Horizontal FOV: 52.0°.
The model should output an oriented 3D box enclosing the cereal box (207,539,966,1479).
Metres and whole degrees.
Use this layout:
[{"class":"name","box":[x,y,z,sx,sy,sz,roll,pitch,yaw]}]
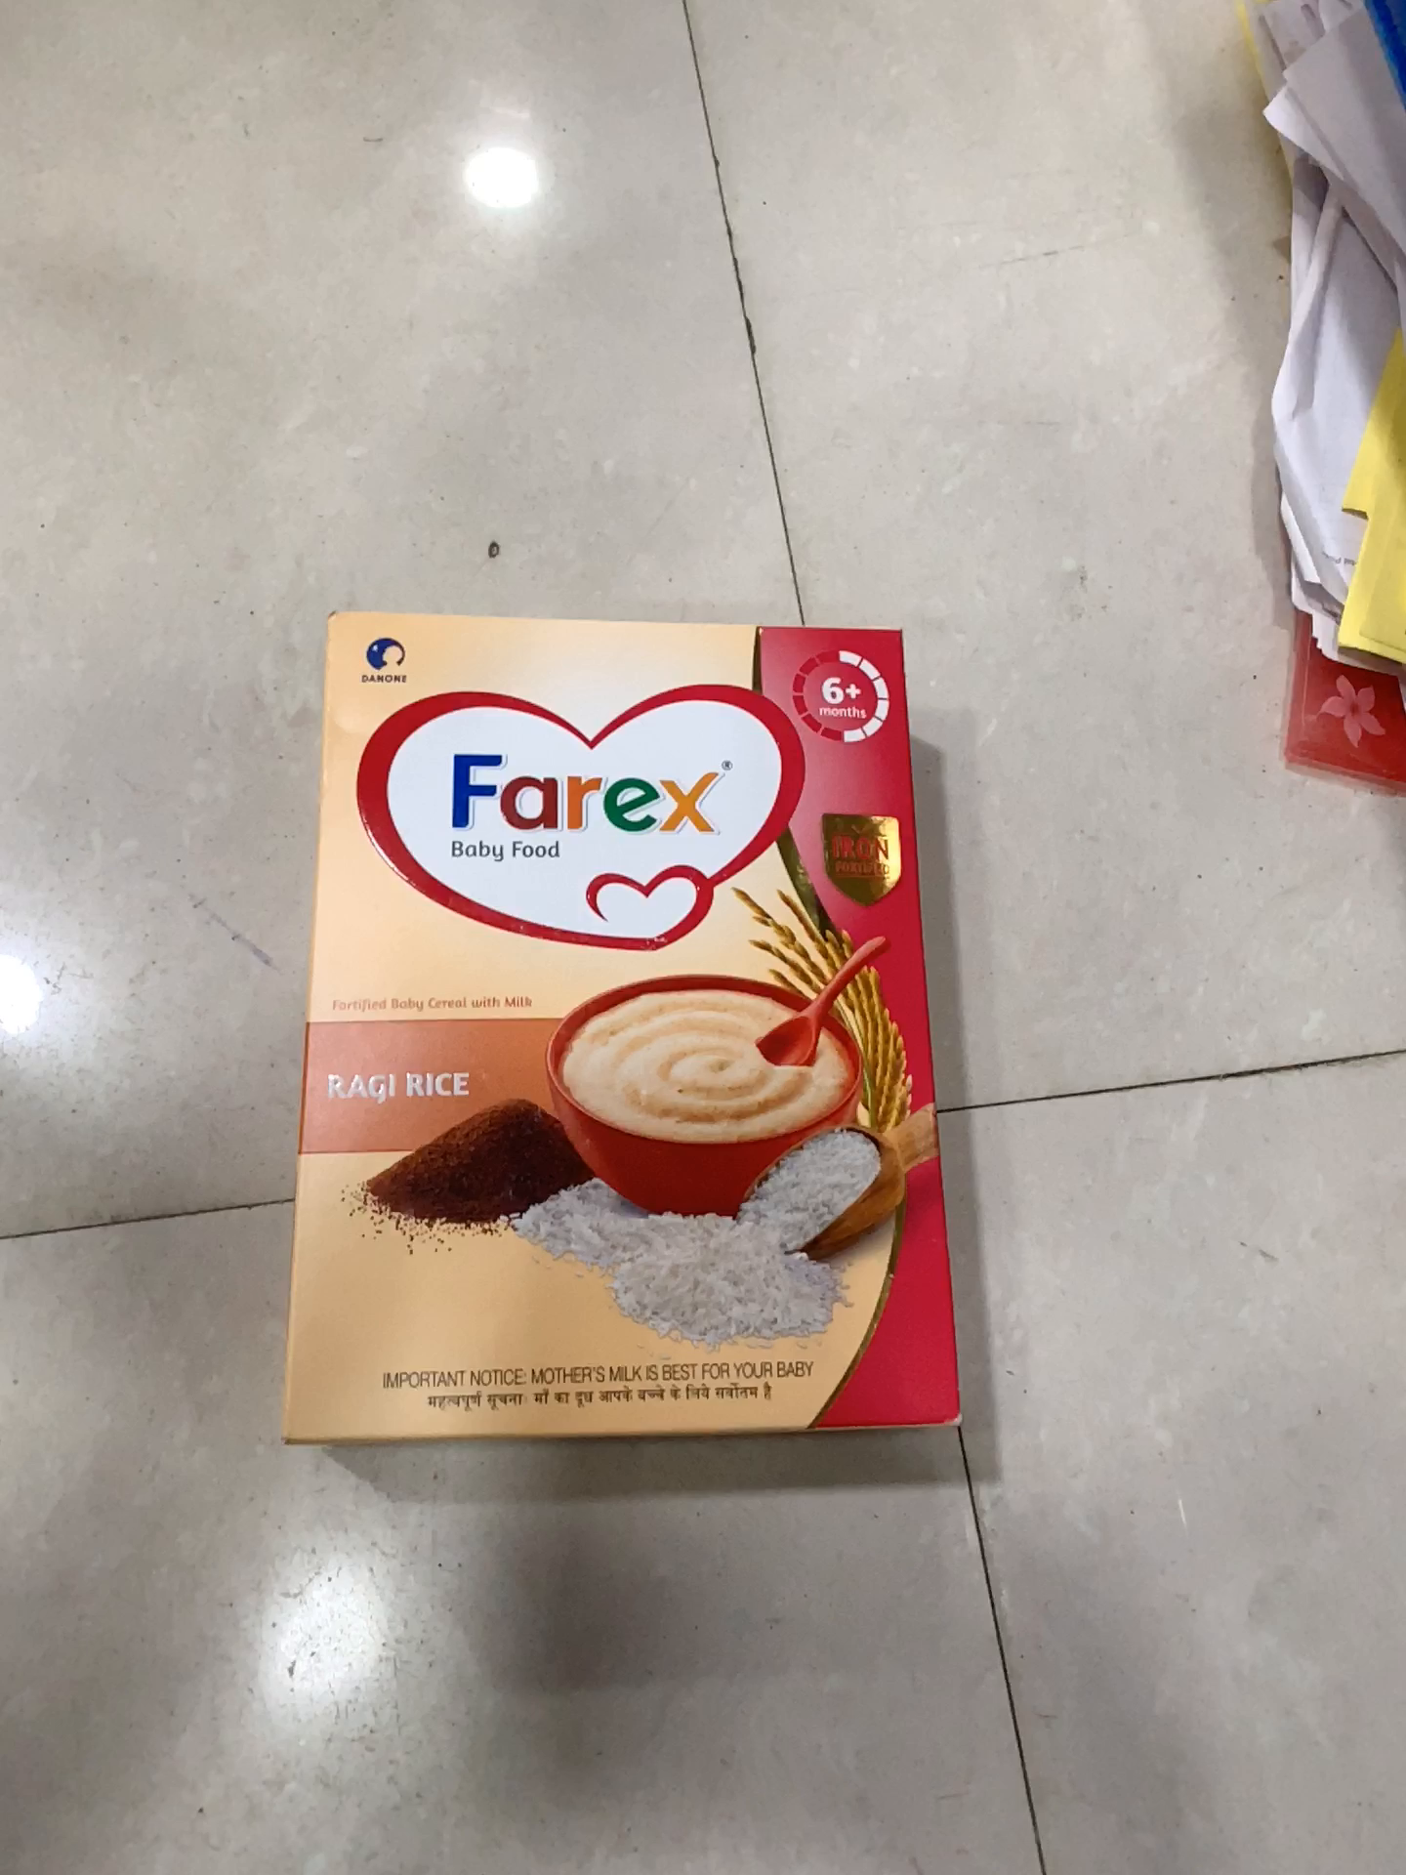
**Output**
[{"class":"cereal box","box":[-0.027,0.014,0.336,0.150,0.050,0.200,1,73,-10]}]
